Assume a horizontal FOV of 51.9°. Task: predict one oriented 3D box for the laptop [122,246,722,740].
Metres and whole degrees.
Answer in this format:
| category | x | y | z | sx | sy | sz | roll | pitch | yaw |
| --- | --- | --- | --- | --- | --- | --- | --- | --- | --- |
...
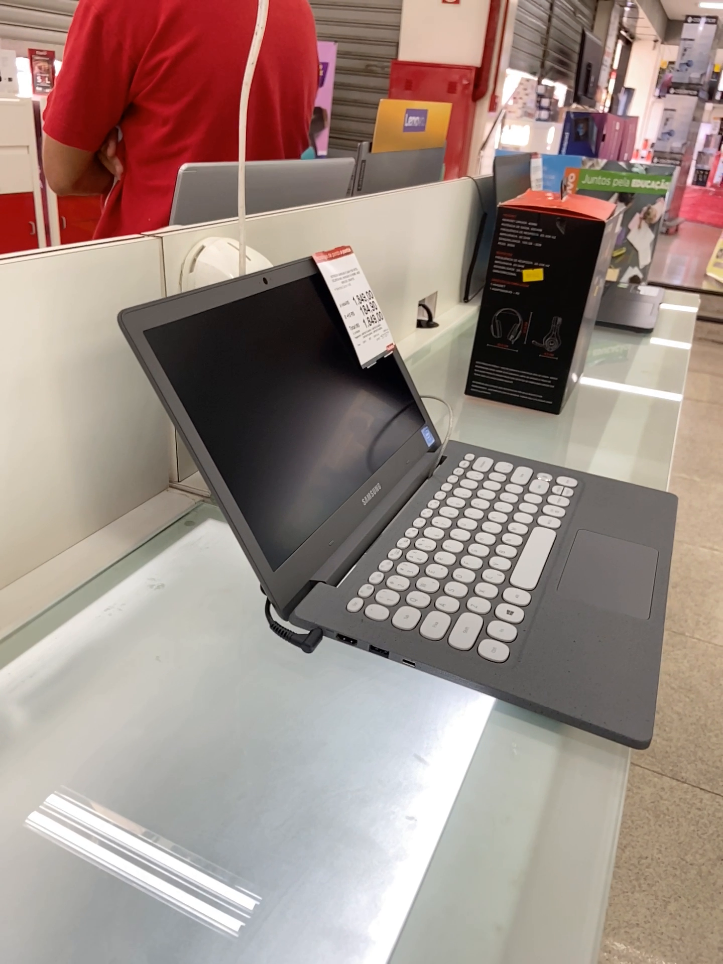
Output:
| category | x | y | z | sx | sy | sz | roll | pitch | yaw |
| --- | --- | --- | --- | --- | --- | --- | --- | --- | --- |
| laptop | 0.073 | -0.043 | 0.555 | 0.340 | 0.172 | 0.326 | 15 | 28 | 20 |
